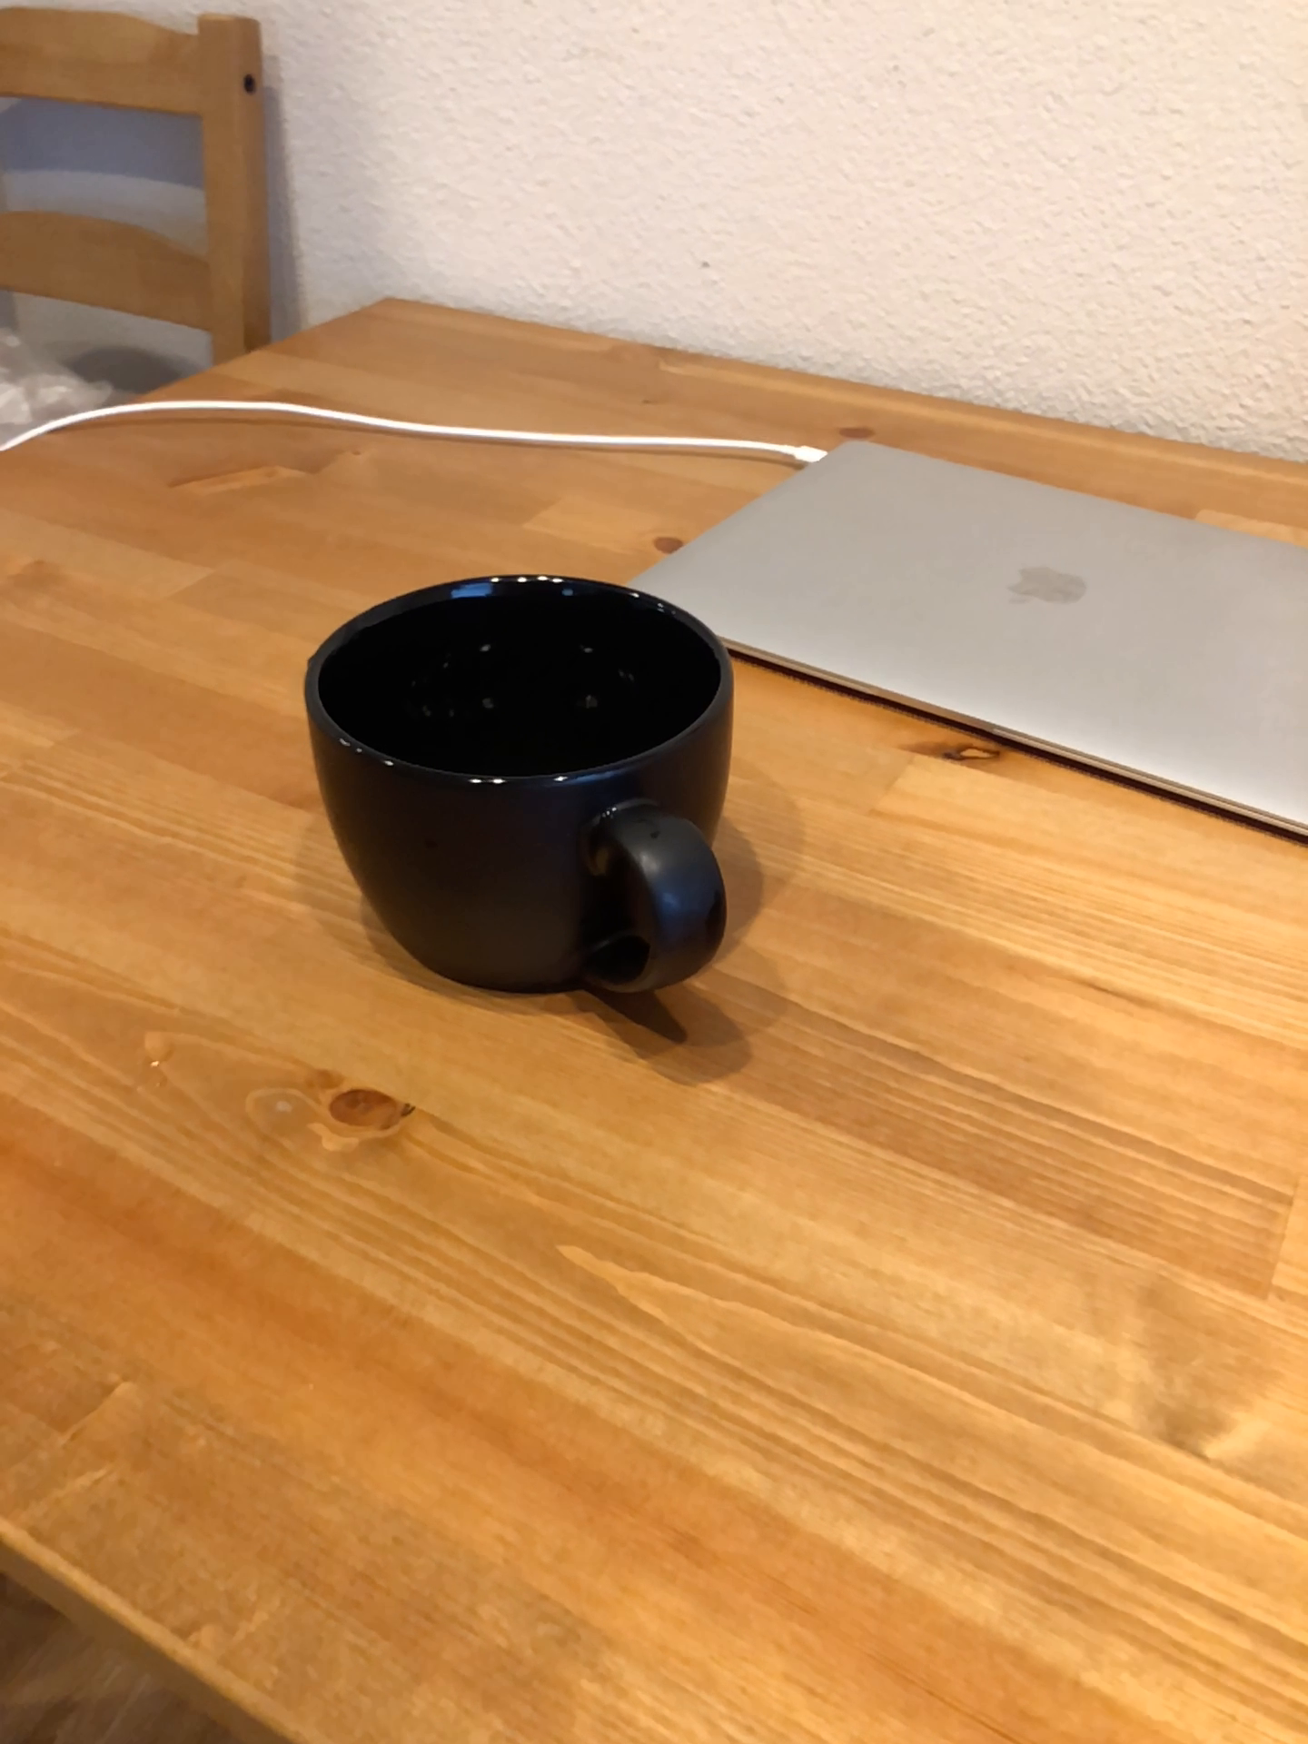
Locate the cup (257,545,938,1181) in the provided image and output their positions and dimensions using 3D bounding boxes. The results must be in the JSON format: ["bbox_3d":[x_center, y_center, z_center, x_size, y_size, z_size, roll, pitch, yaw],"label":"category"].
[{"bbox_3d":[-0.022,-0.015,0.416,0.120,0.080,0.161,-19,40,-25],"label":"cup"}]
